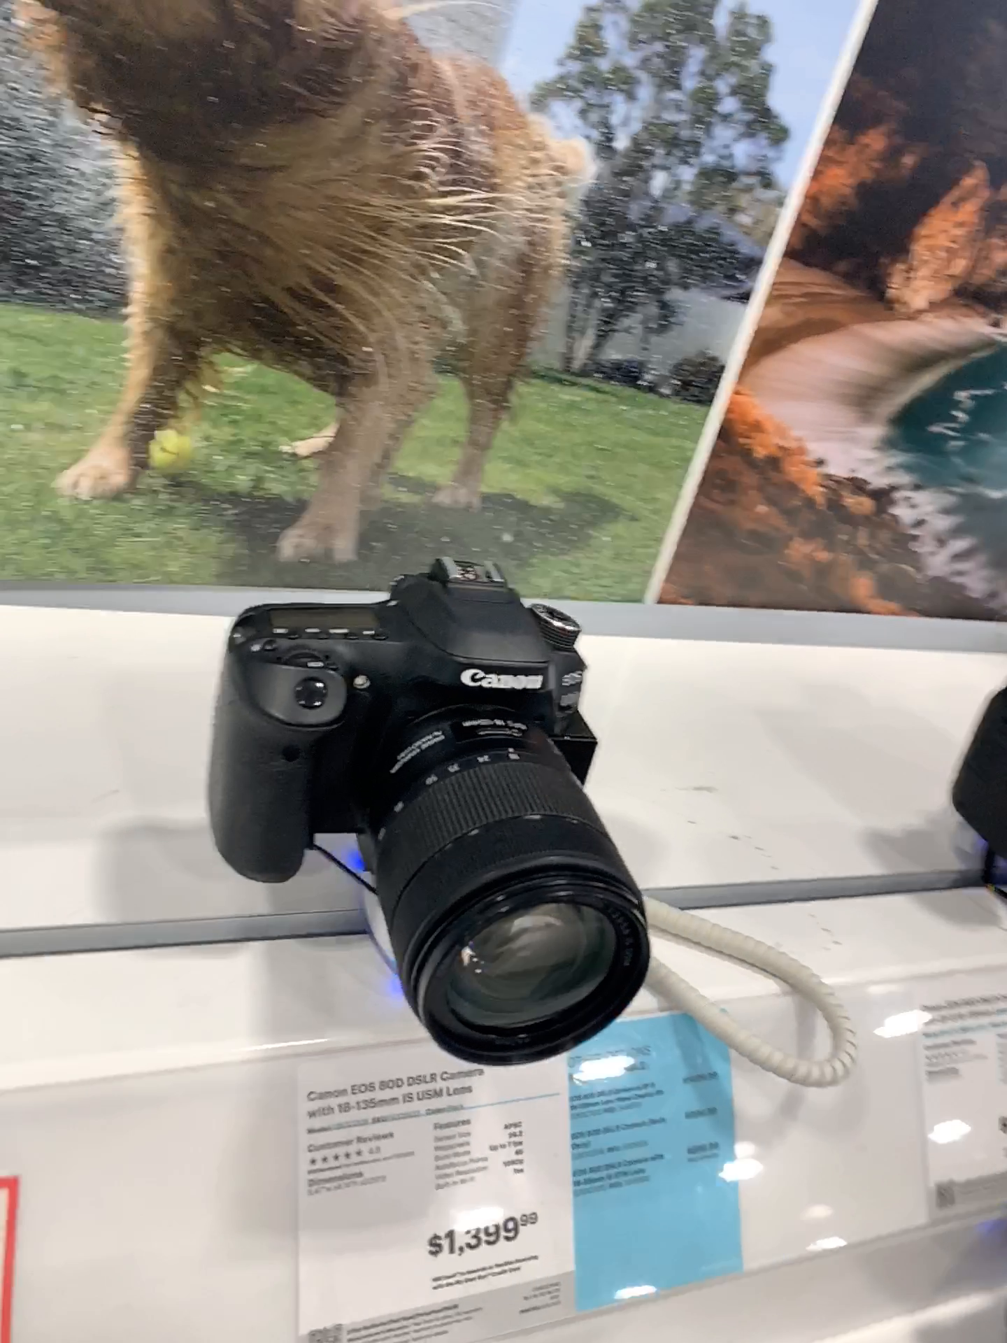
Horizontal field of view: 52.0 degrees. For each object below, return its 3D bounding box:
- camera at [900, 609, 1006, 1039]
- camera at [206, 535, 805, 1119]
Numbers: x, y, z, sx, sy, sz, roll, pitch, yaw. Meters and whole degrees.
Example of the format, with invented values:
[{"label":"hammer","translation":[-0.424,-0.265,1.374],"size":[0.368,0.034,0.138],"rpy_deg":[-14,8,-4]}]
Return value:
[{"label":"camera","translation":[0.303,0.058,0.466],"size":[0.140,0.099,0.161],"rpy_deg":[1,33,-23]},{"label":"camera","translation":[-0.016,0.039,0.351],"size":[0.140,0.099,0.161],"rpy_deg":[1,33,-23]}]
